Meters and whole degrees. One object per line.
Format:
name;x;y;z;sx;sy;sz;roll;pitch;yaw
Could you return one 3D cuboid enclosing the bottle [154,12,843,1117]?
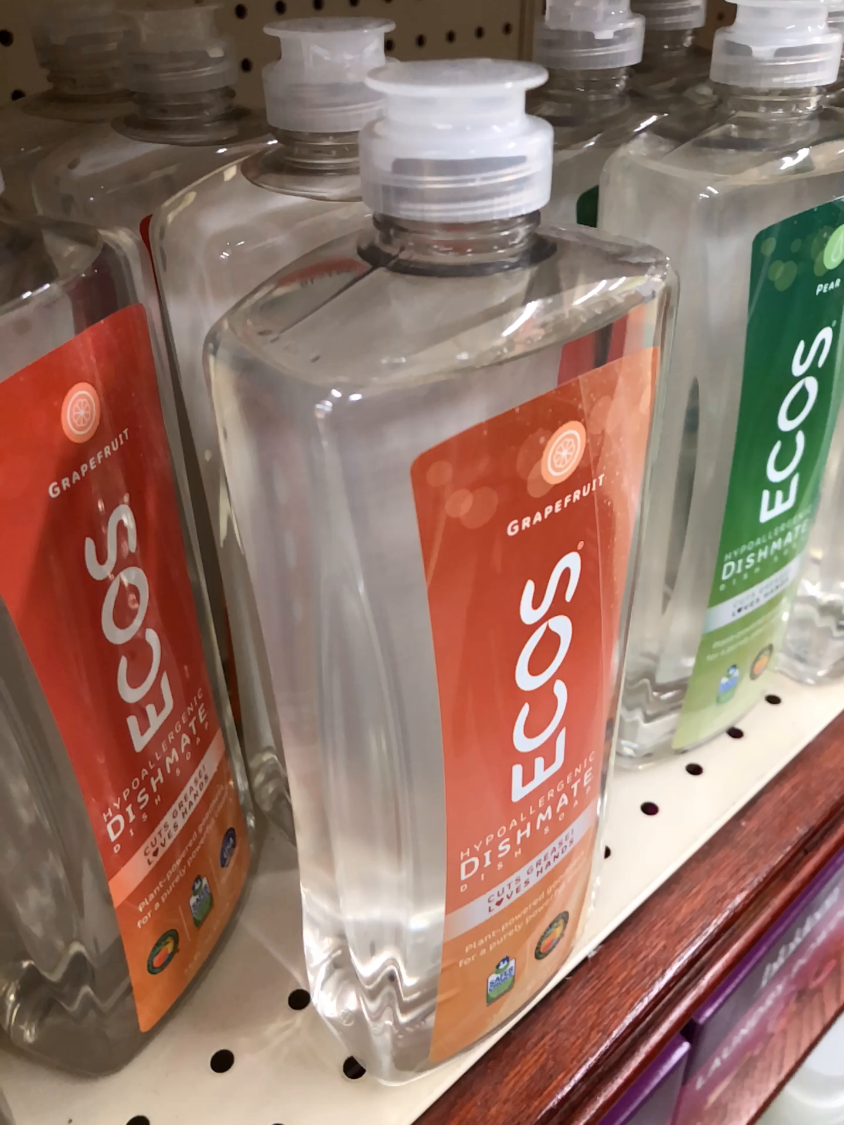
bottle;0.015;0.015;0.202;0.092;0.219;0.050;-29;45;-33
